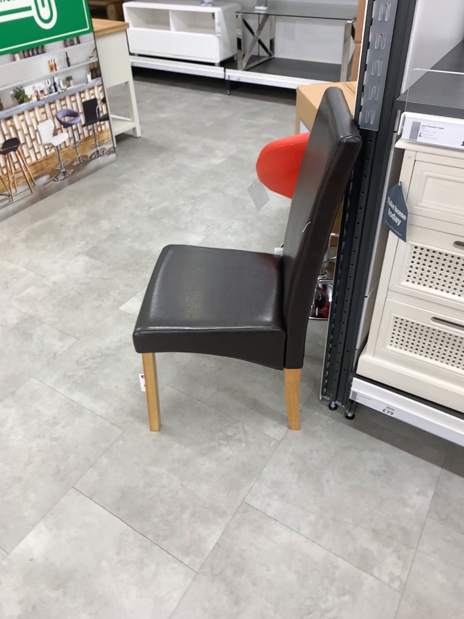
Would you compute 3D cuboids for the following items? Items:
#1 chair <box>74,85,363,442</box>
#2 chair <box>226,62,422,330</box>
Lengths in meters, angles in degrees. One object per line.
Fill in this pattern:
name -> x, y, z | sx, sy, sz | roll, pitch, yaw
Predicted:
chair -> -0.003, -0.093, 1.357 | 0.555, 0.912, 0.430 | 2, 39, 5
chair -> 0.304, -0.425, 1.774 | 0.427, 0.774, 0.458 | -31, 47, -31
